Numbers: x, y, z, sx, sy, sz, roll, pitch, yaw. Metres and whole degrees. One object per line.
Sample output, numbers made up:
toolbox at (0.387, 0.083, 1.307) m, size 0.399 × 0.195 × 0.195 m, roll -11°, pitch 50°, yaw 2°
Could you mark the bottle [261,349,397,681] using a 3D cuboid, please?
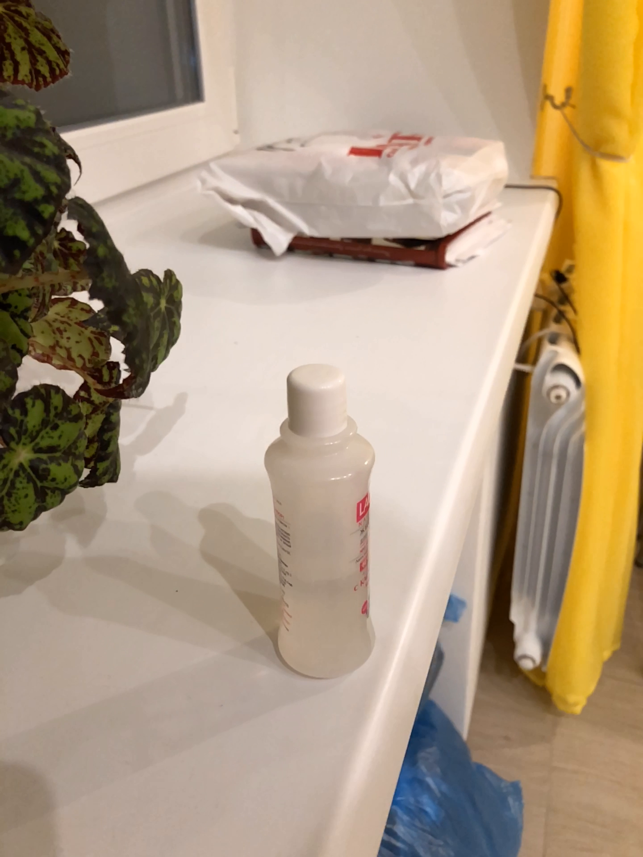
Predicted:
bottle at (0.004, 0.031, 0.234) m, size 0.036 × 0.105 × 0.037 m, roll -1°, pitch 29°, yaw 1°
